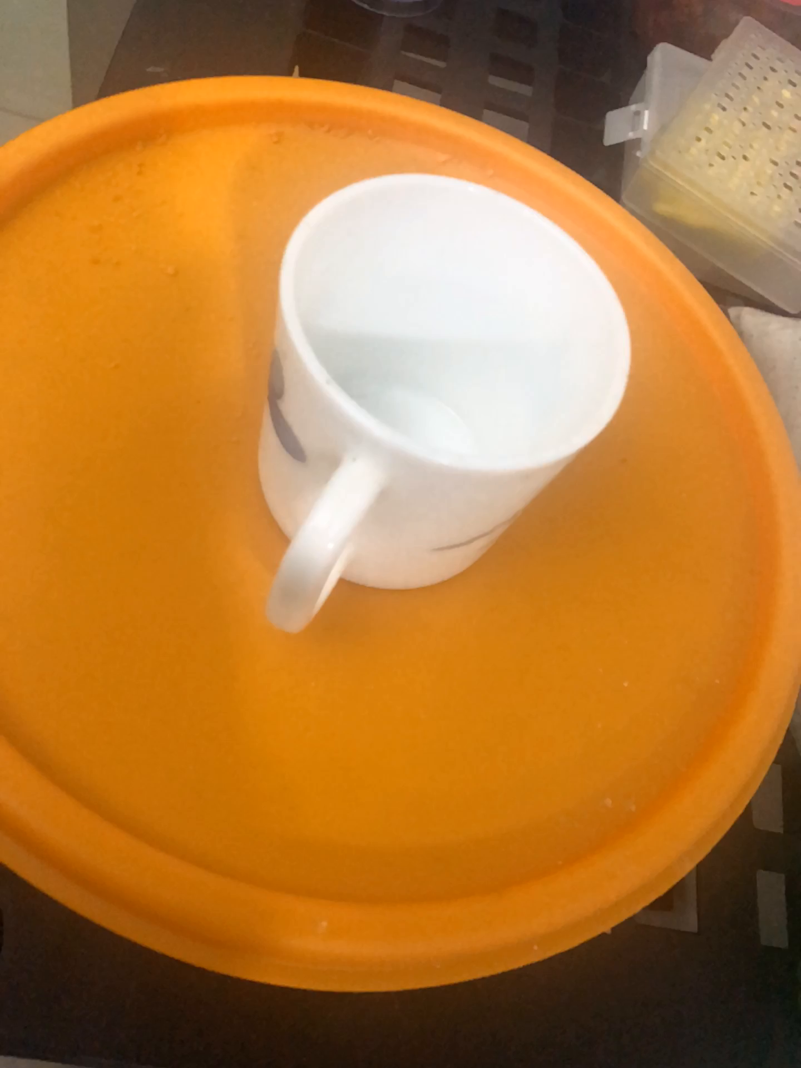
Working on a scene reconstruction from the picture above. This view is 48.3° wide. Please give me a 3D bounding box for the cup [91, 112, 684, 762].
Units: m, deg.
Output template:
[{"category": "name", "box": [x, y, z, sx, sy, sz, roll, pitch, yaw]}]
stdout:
[{"category": "cup", "box": [-0.003, -0.020, 0.201, 0.080, 0.070, 0.100, 31, 60, 0]}]
